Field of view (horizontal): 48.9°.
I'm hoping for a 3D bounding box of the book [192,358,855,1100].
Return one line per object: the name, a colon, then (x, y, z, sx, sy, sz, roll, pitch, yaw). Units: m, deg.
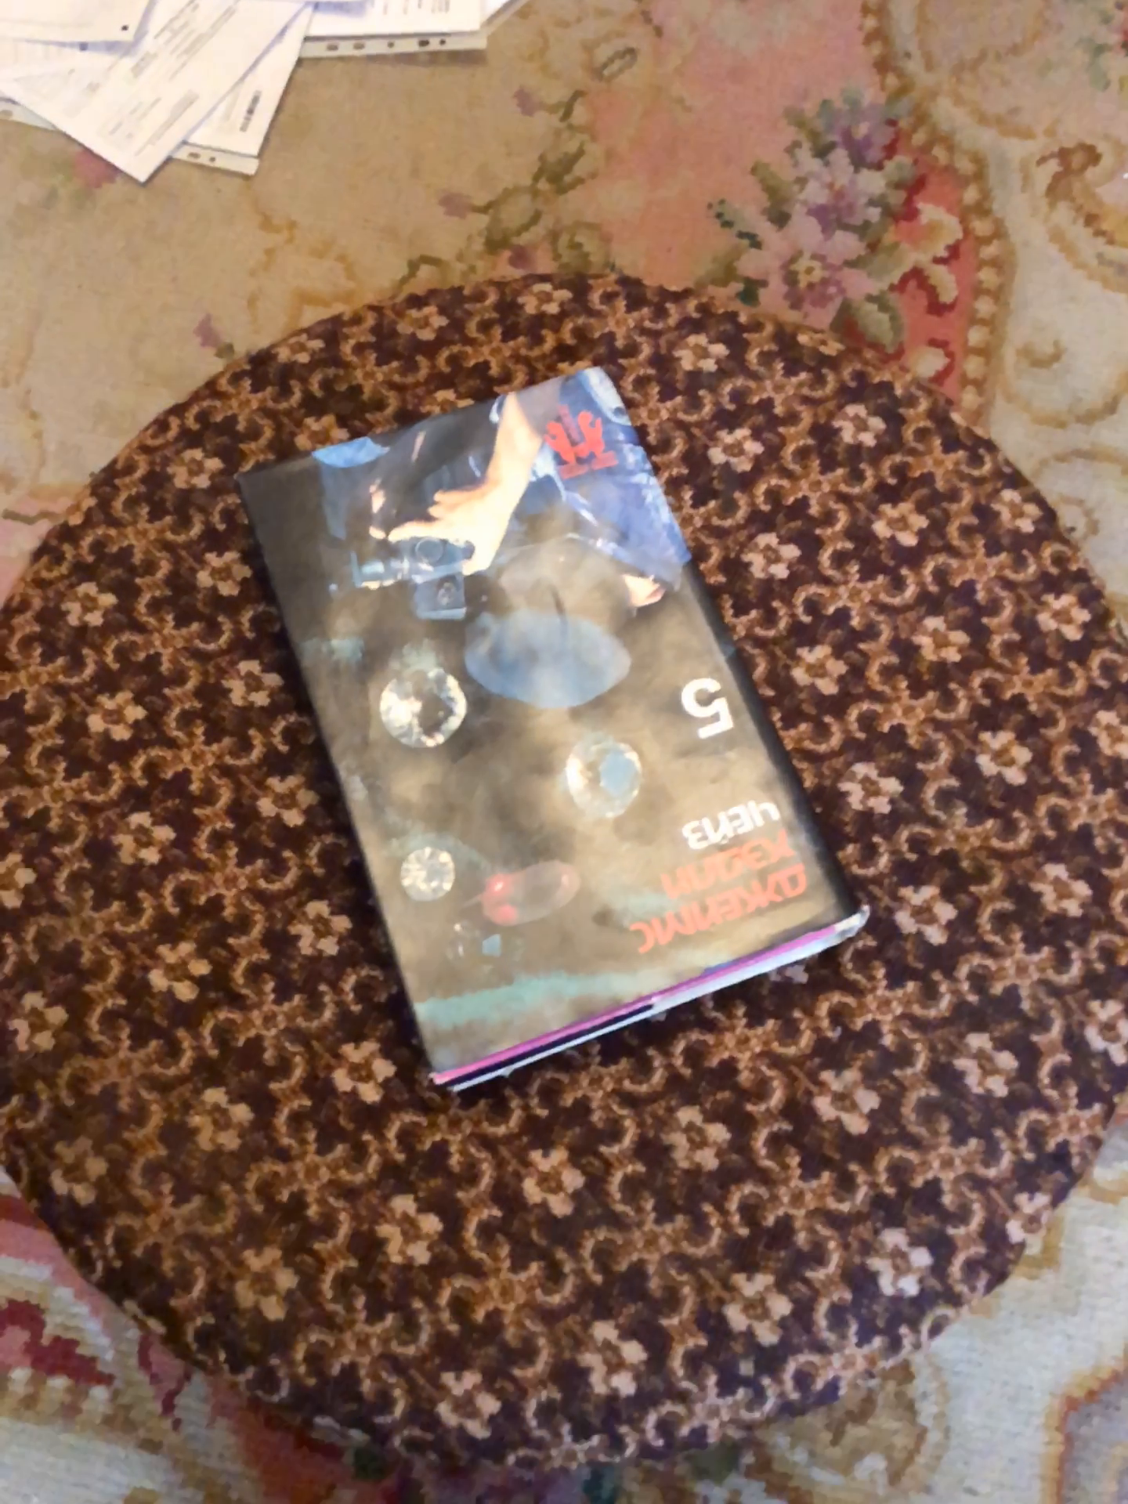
book: (-0.021, -0.019, 0.380, 0.140, 0.020, 0.205, -19, 67, -6)
